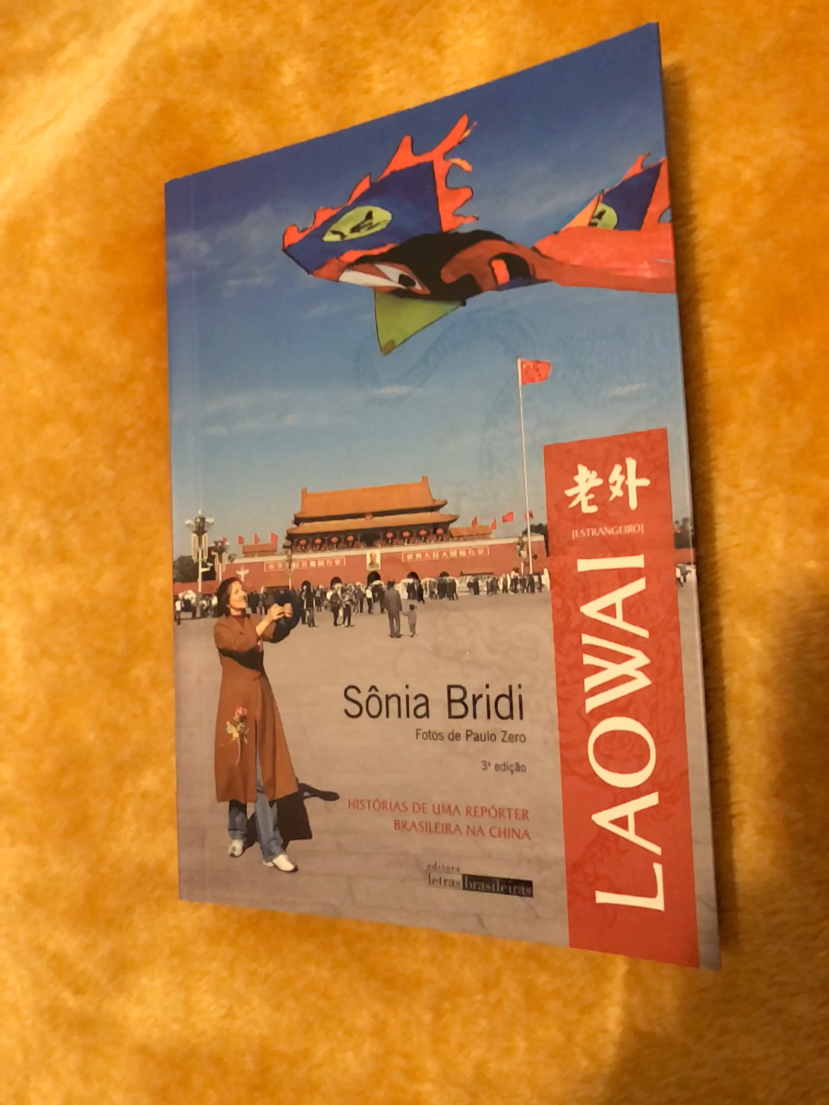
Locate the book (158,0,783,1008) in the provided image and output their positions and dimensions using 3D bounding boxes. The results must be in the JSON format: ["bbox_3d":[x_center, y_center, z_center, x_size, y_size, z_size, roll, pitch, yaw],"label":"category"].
[{"bbox_3d":[0.003,-0.017,0.264,0.170,0.040,0.240,-5,84,30],"label":"book"}]
